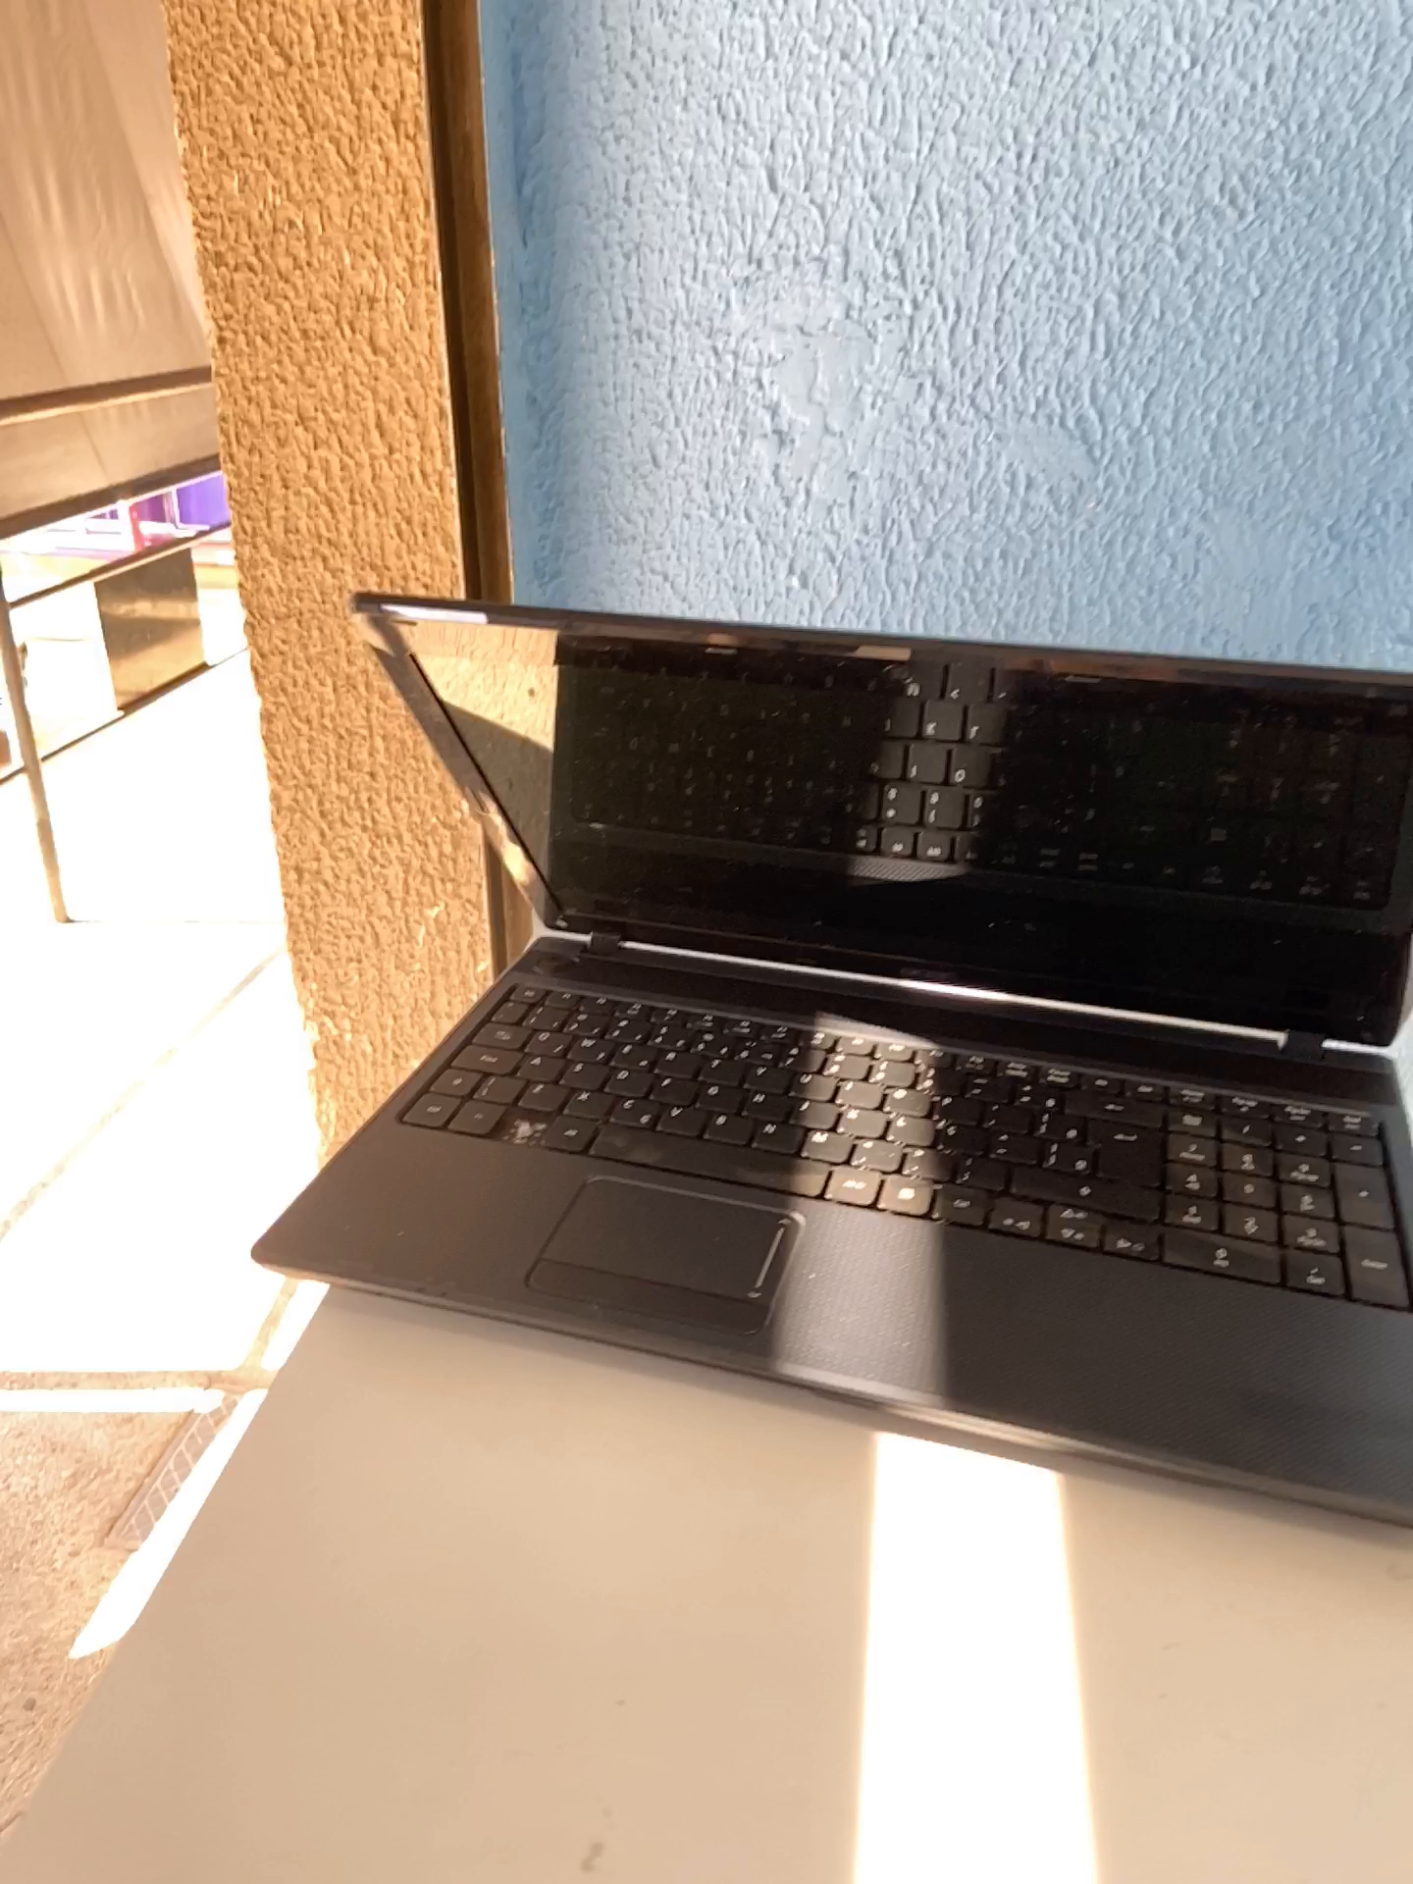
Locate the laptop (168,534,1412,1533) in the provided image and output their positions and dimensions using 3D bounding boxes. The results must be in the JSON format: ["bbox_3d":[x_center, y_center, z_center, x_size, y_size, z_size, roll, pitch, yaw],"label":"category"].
[{"bbox_3d":[0.065,-0.009,0.499,0.376,0.191,0.249,7,27,15],"label":"laptop"}]
